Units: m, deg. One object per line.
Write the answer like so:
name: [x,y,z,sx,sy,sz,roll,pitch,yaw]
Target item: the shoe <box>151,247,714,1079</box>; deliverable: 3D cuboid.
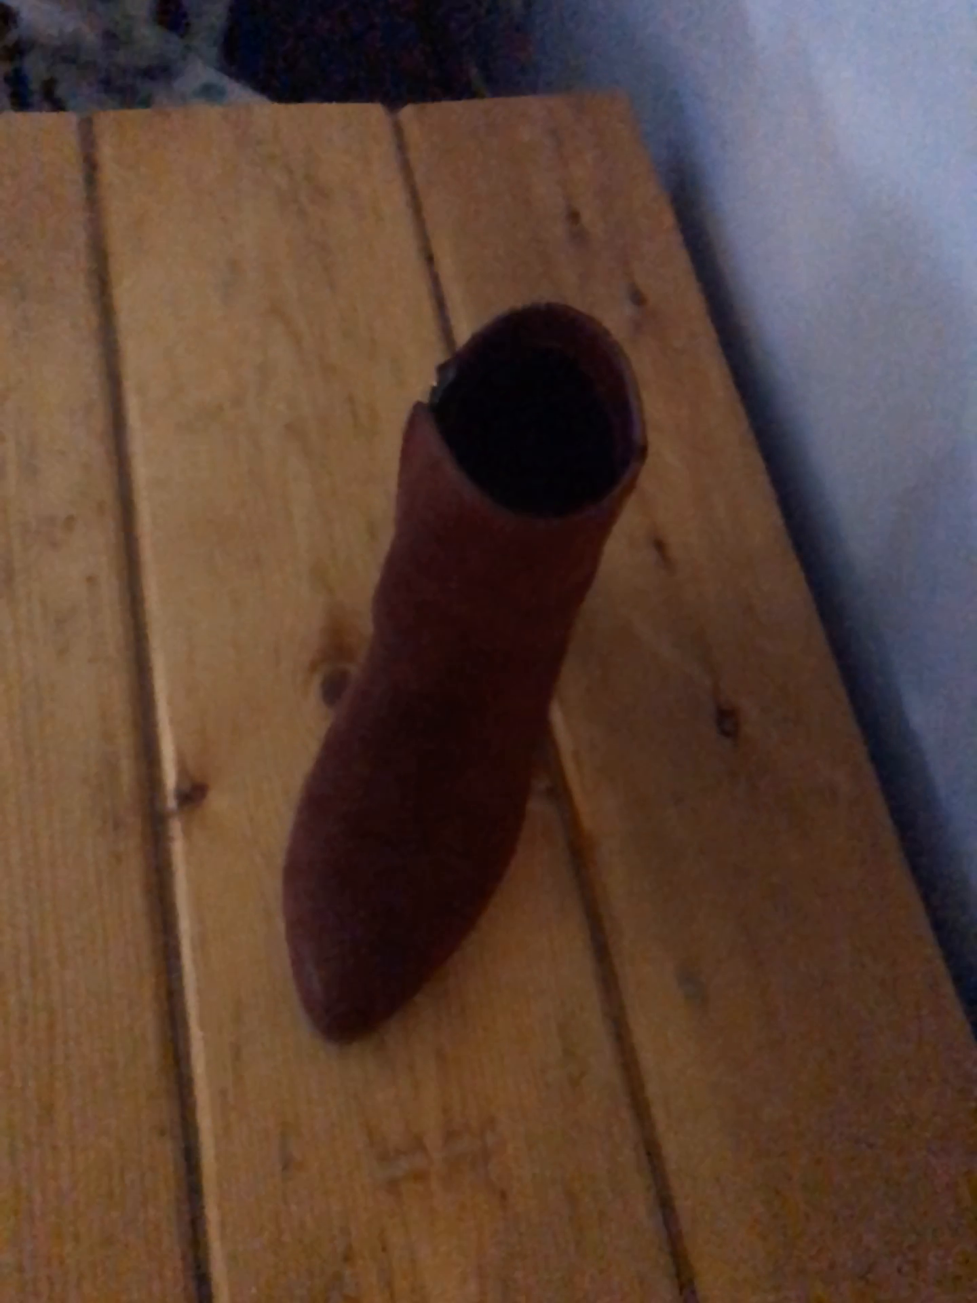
shoe: [-0.013,0.009,0.393,0.090,0.150,0.250,20,64,2]
